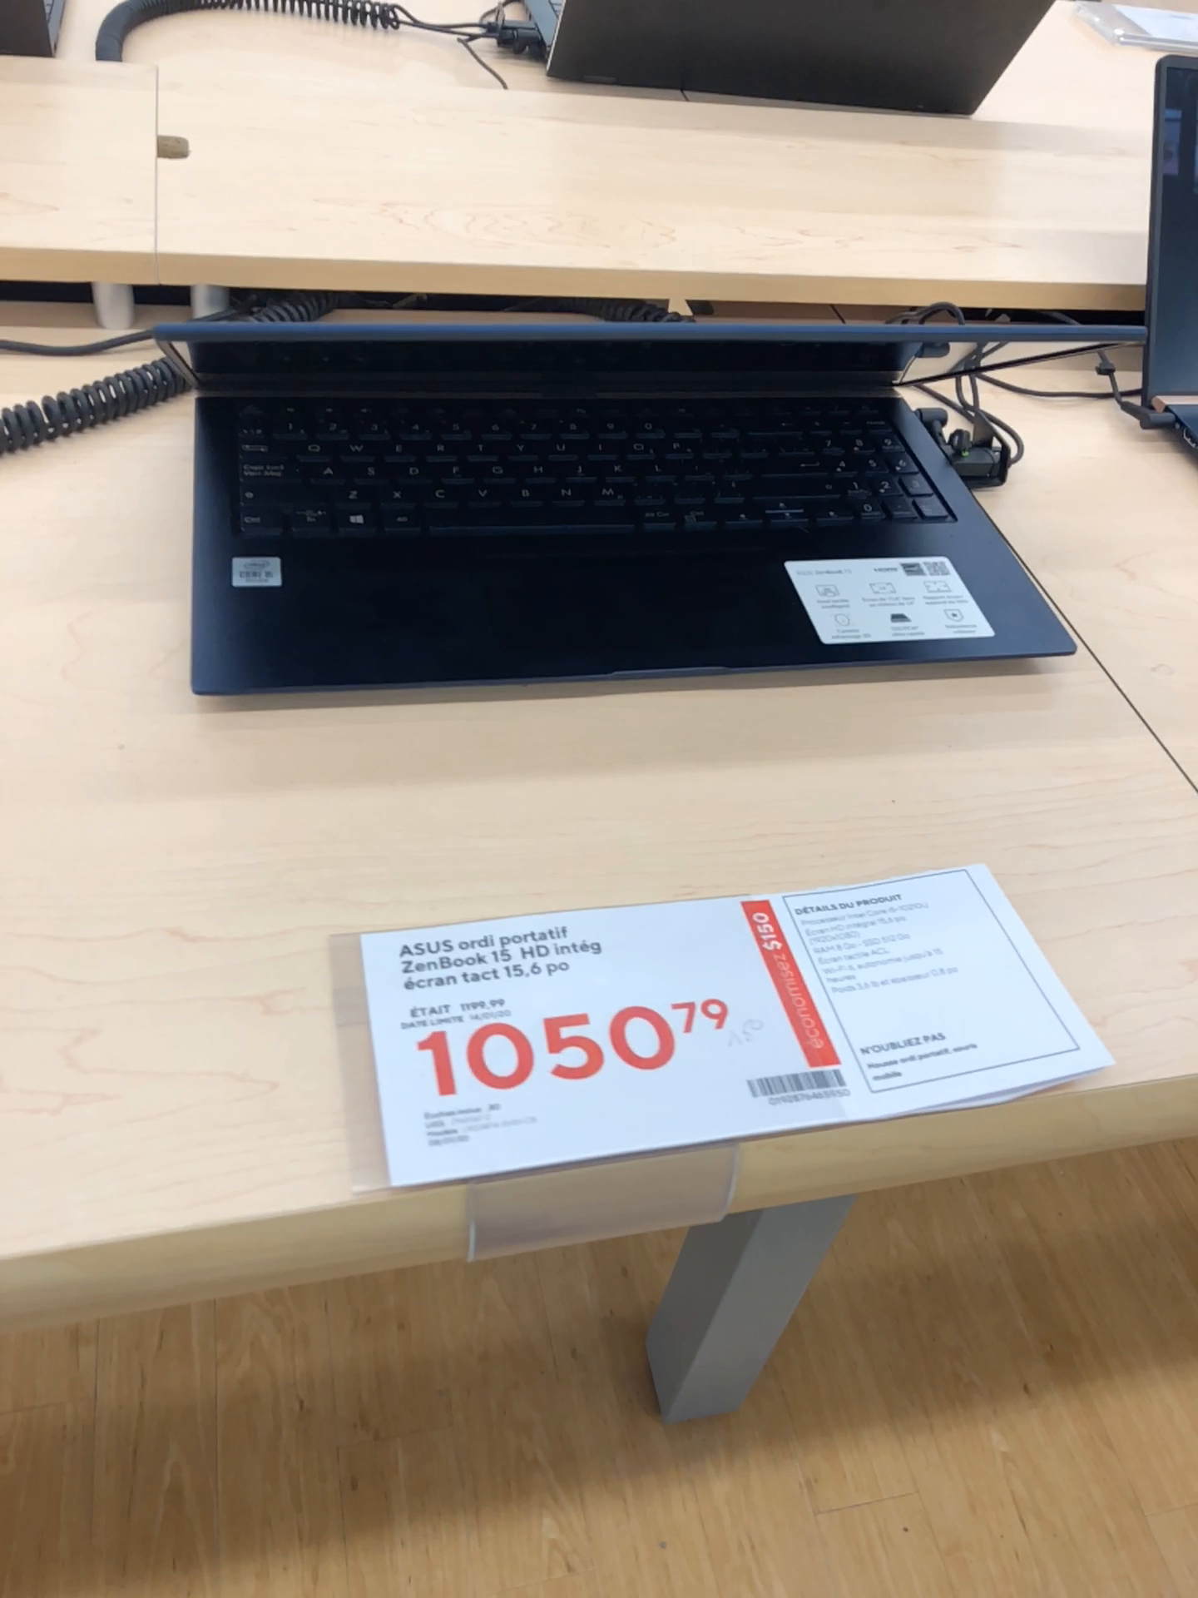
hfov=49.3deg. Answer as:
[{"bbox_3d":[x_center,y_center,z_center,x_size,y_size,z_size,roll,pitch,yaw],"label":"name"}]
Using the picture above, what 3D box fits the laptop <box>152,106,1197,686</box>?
[{"bbox_3d":[0.014,-0.166,0.522,0.346,0.119,0.204,-4,47,-14],"label":"laptop"}]
